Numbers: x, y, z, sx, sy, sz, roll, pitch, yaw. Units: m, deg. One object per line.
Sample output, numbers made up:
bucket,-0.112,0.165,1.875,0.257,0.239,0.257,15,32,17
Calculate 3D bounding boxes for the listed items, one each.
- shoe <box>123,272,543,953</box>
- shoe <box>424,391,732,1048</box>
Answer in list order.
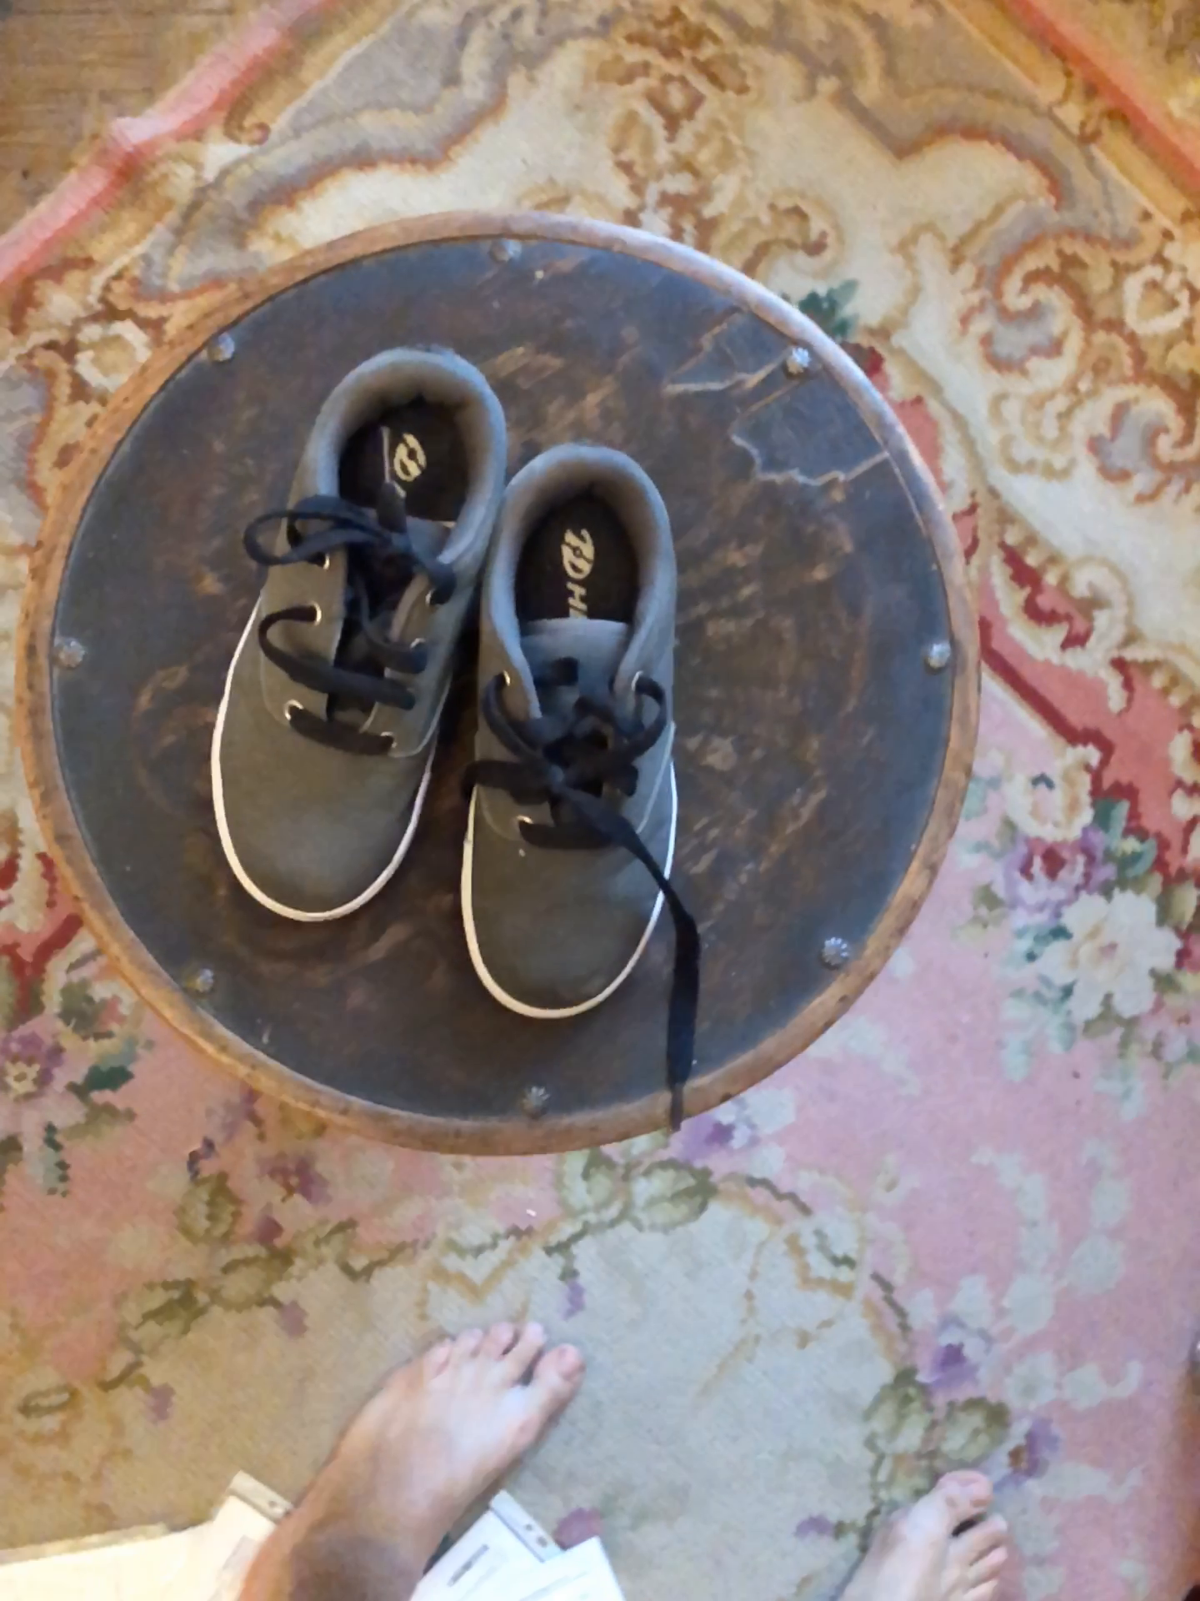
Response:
shoe,-0.091,-0.060,0.480,0.090,0.100,0.211,13,84,-5
shoe,-0.011,-0.024,0.480,0.090,0.100,0.211,4,85,-6
